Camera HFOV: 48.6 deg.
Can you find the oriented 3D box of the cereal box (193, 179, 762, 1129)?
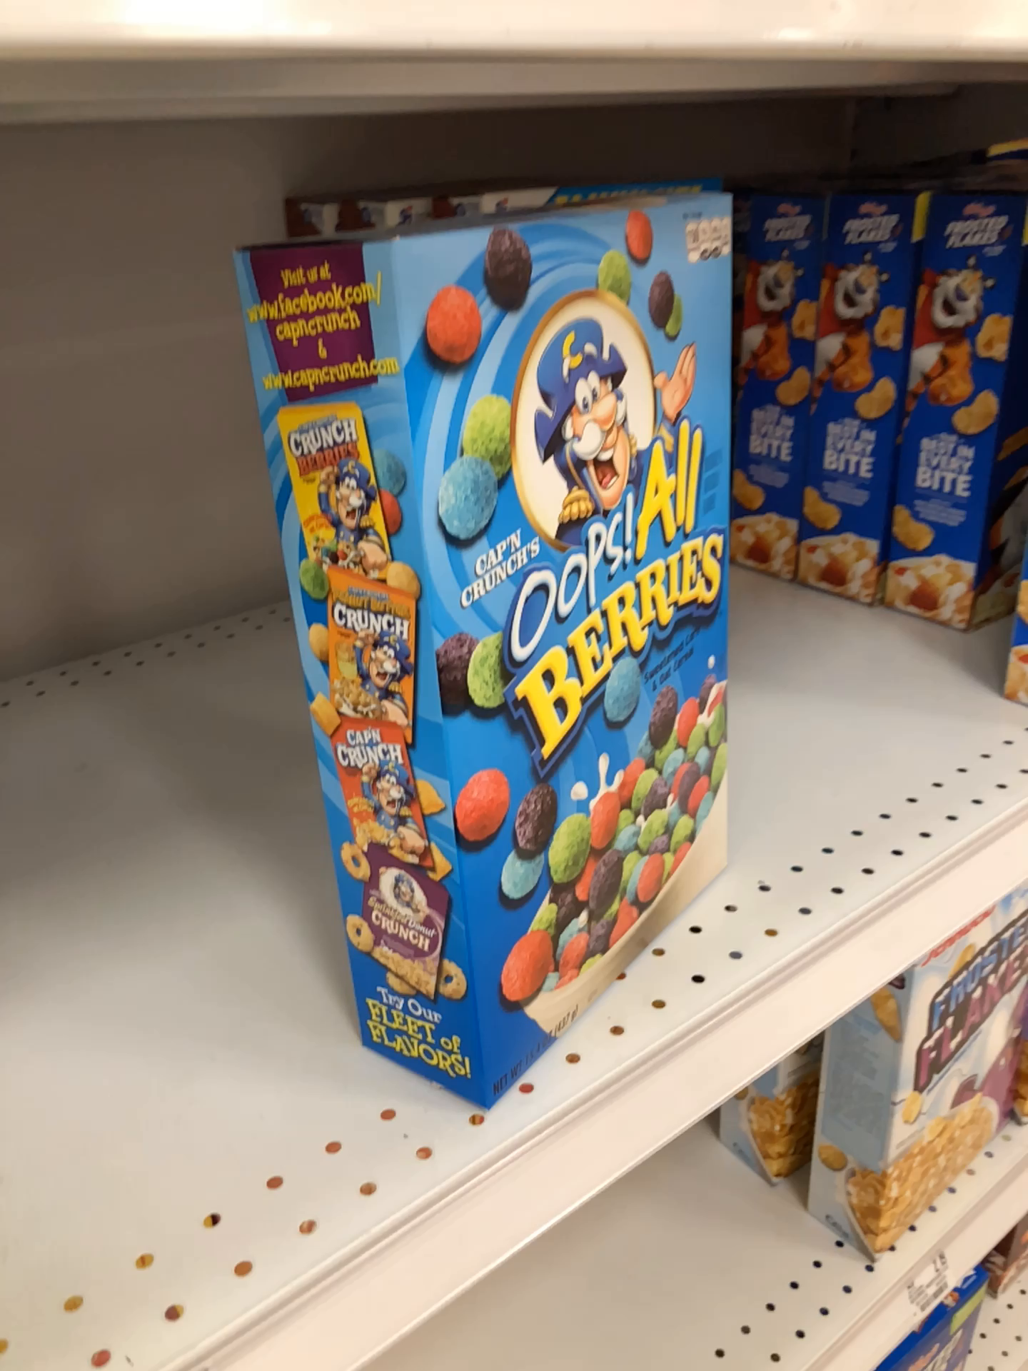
[{"bbox_3d":[0.011,-0.025,0.467,0.080,0.319,0.220,15,31,34],"label":"cereal box"}]
